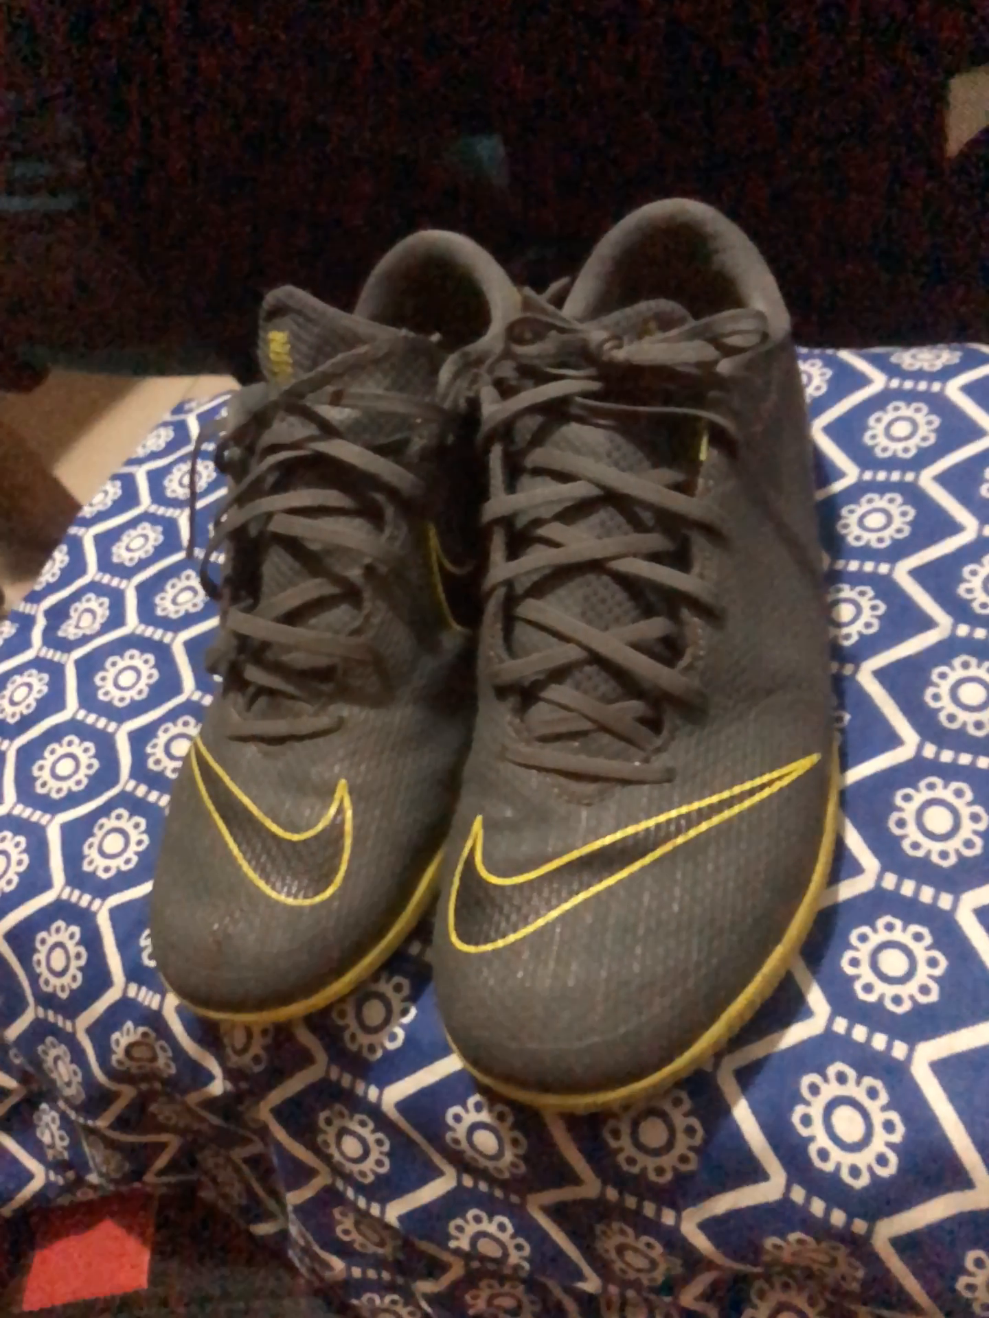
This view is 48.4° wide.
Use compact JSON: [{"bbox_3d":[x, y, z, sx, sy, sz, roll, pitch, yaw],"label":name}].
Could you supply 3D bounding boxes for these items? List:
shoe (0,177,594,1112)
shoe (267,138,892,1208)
[{"bbox_3d":[-0.049,-0.016,0.311,0.090,0.090,0.241,1,56,23],"label":"shoe"},{"bbox_3d":[0.043,-0.011,0.275,0.090,0.090,0.241,1,56,23],"label":"shoe"}]
